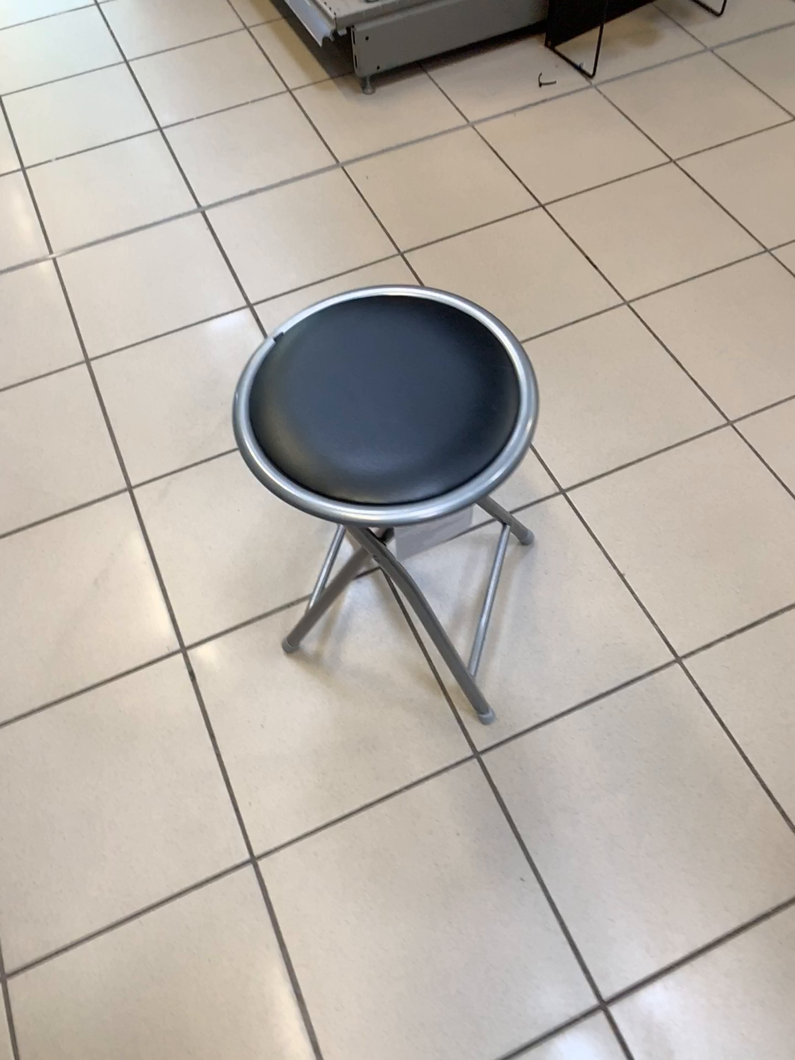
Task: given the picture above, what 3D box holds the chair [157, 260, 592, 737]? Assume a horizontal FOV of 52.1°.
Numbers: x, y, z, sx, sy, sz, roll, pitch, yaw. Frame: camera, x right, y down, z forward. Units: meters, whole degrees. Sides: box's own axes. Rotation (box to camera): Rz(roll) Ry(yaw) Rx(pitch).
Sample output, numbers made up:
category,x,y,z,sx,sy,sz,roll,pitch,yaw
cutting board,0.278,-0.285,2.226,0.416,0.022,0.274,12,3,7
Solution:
category,x,y,z,sx,sy,sz,roll,pitch,yaw
chair,0.001,-0.020,0.953,0.335,0.402,0.329,13,60,11
